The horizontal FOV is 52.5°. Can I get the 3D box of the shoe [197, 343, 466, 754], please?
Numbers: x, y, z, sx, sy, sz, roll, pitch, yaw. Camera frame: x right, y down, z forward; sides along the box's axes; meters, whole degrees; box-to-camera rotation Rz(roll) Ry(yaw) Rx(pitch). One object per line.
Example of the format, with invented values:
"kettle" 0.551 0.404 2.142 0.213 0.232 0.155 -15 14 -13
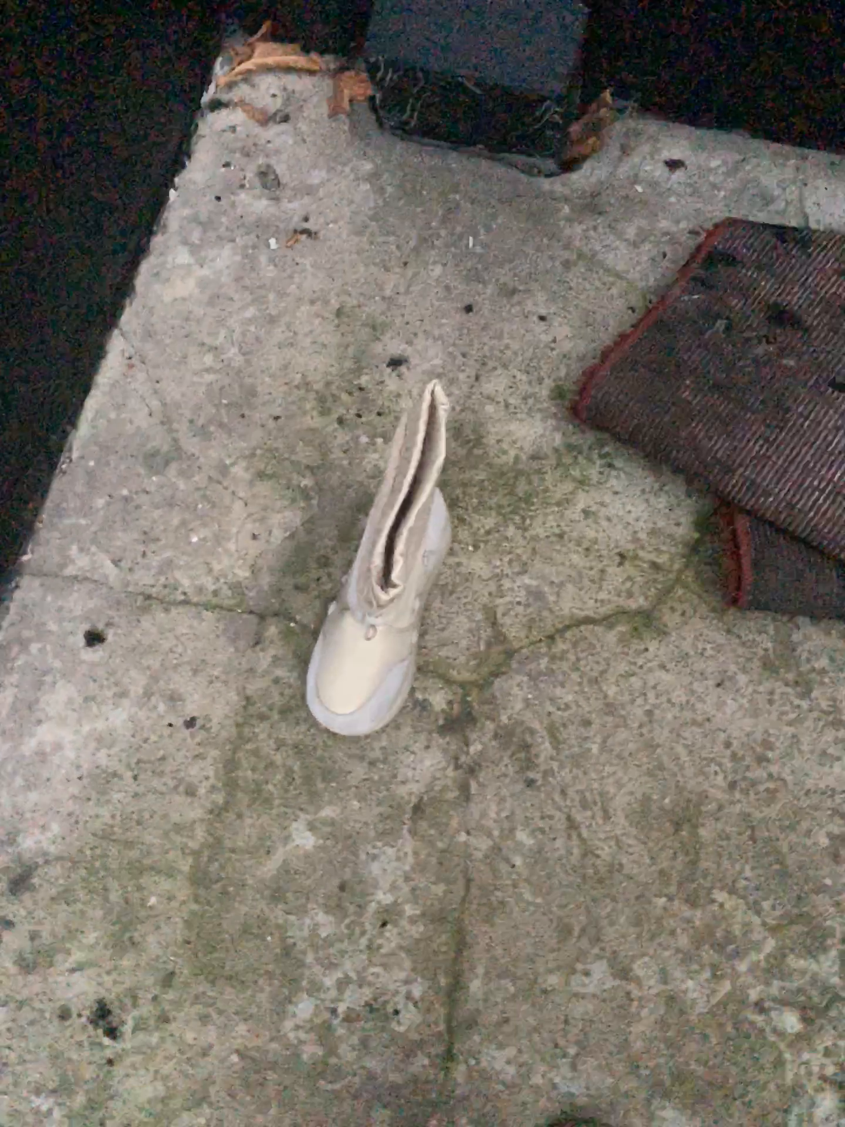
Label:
"shoe" -0.053 0.012 0.753 0.110 0.299 0.271 15 76 8
